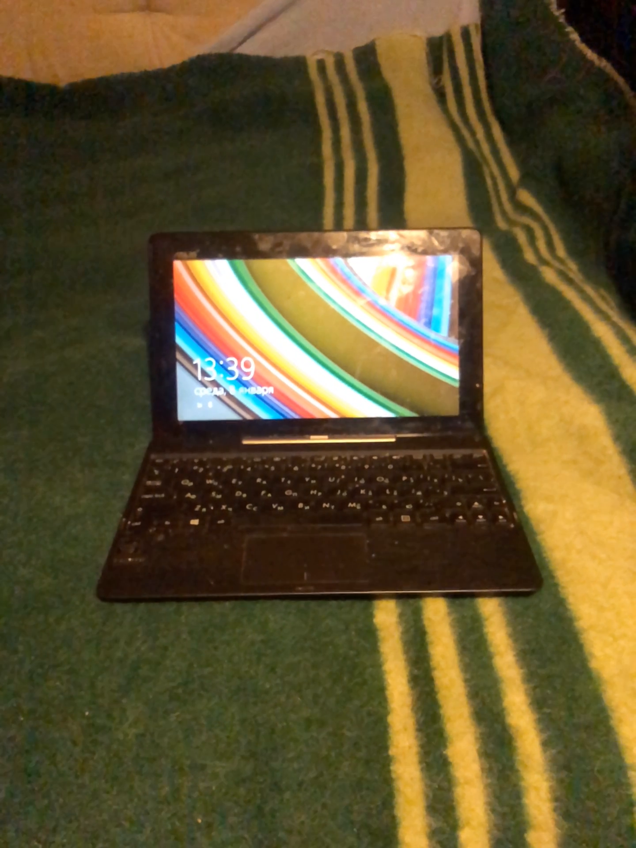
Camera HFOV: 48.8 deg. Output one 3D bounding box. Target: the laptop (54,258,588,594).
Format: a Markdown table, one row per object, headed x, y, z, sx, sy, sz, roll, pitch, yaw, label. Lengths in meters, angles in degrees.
| x | y | z | sx | sy | sz | roll | pitch | yaw | label |
| --- | --- | --- | --- | --- | --- | --- | --- | --- | --- |
| 0.000 | -0.016 | 0.484 | 0.257 | 0.116 | 0.258 | -1 | 34 | 0 | laptop |
